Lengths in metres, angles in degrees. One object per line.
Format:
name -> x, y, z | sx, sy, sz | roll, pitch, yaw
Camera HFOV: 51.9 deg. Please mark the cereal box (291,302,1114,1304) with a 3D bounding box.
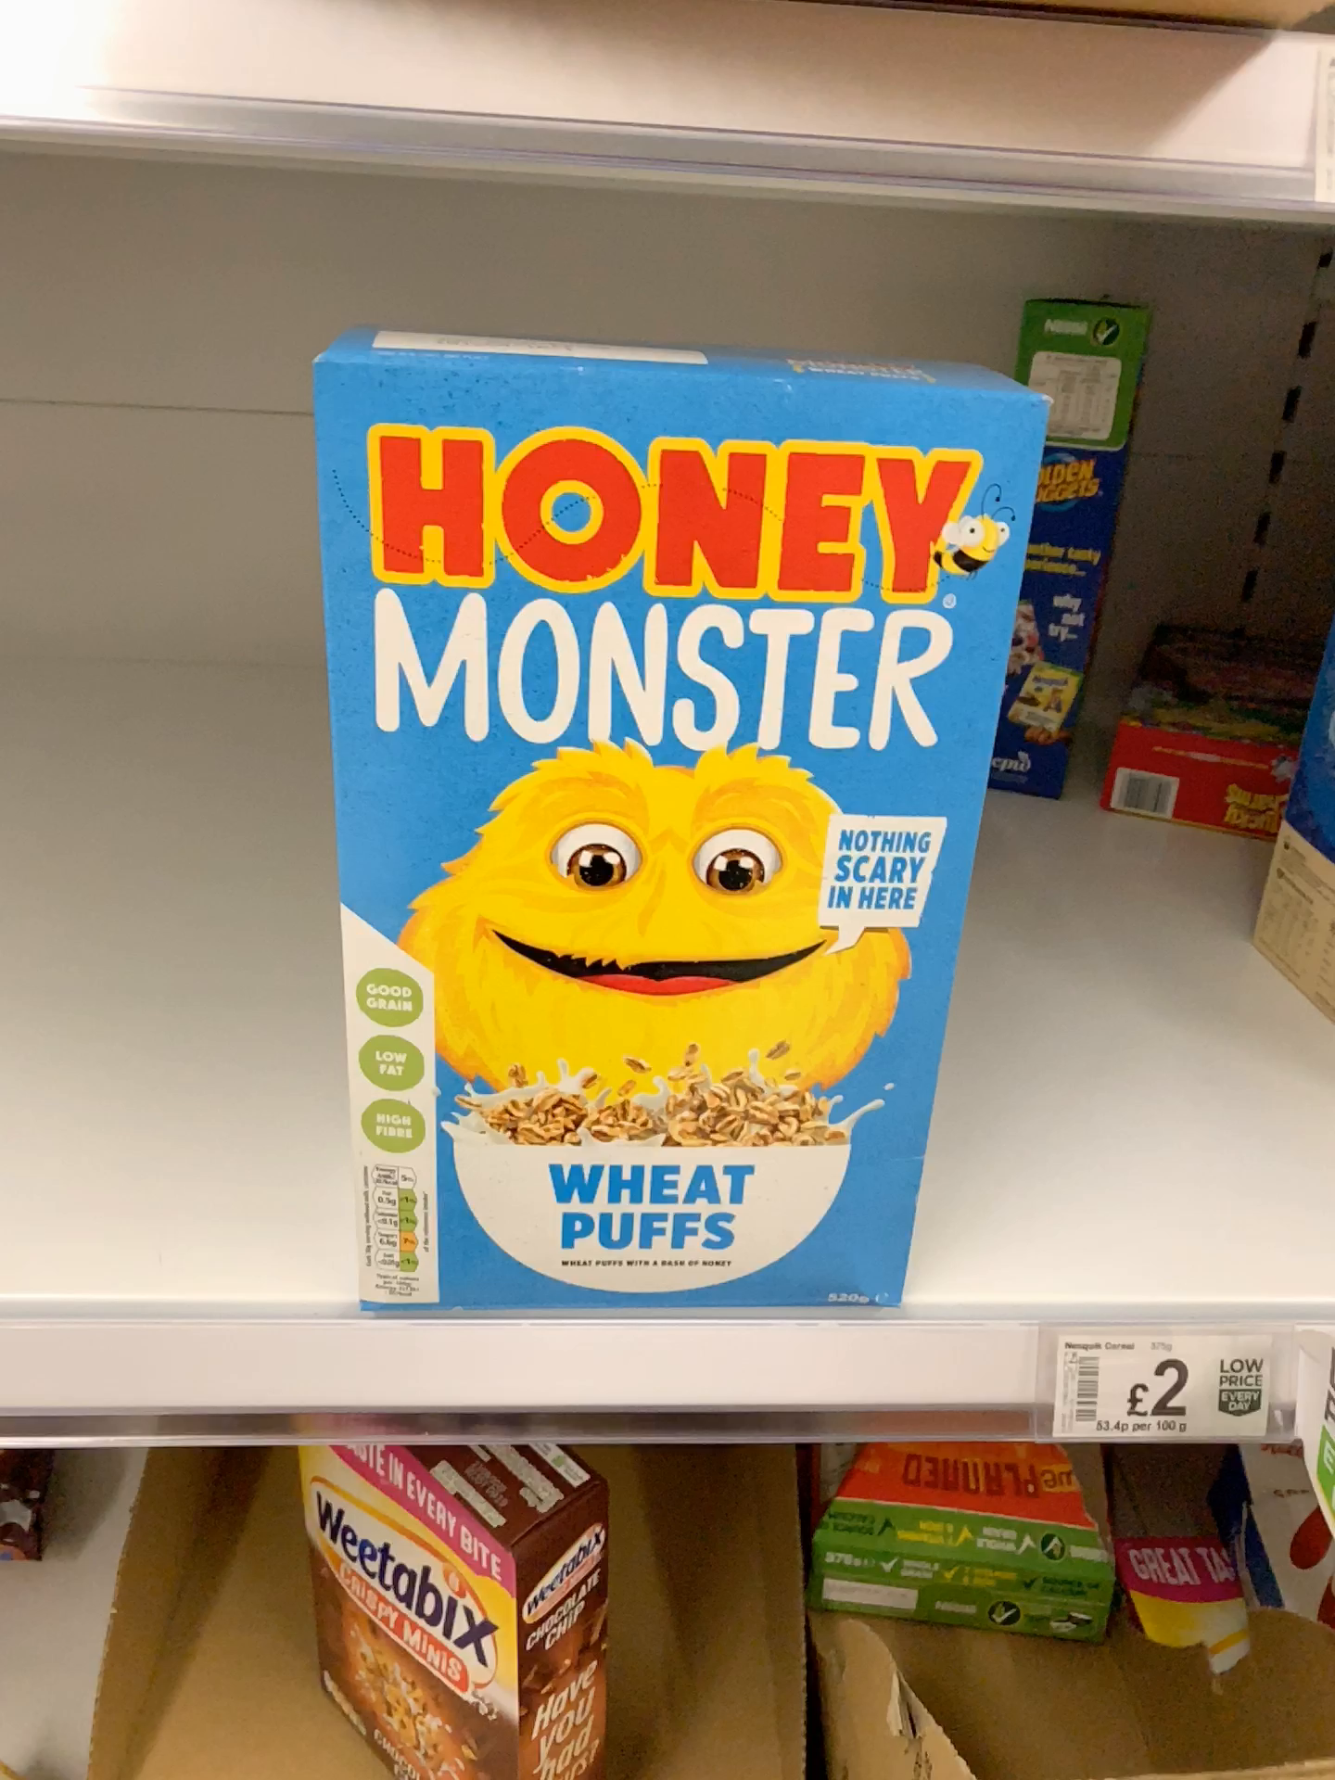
cereal box -> 0.000, -0.017, 0.435 | 0.200, 0.297, 0.091 | 2, 25, -4
